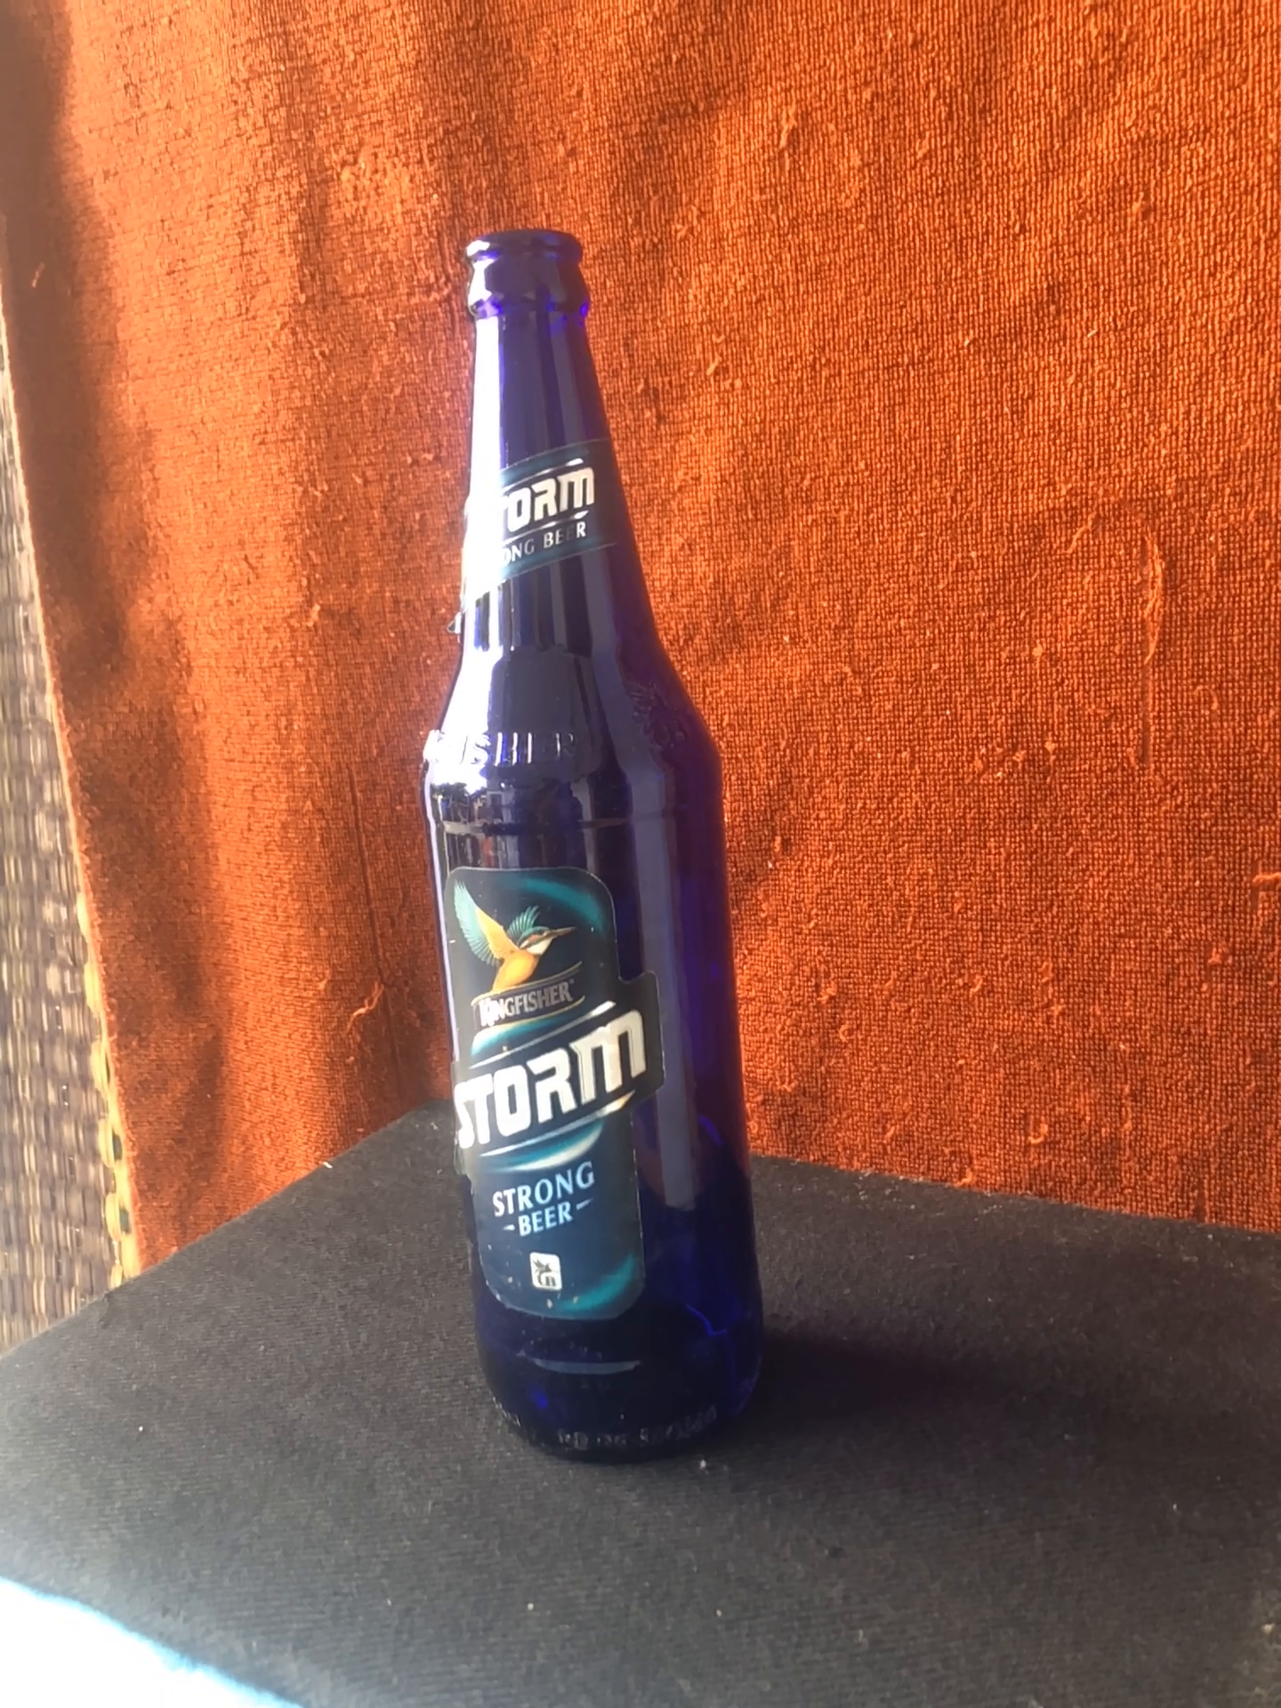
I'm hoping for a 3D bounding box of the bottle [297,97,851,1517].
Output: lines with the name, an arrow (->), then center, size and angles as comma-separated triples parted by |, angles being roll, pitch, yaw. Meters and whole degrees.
bottle -> -0.005, -0.004, 0.323 | 0.080, 0.279, 0.080 | -4, 13, 1
